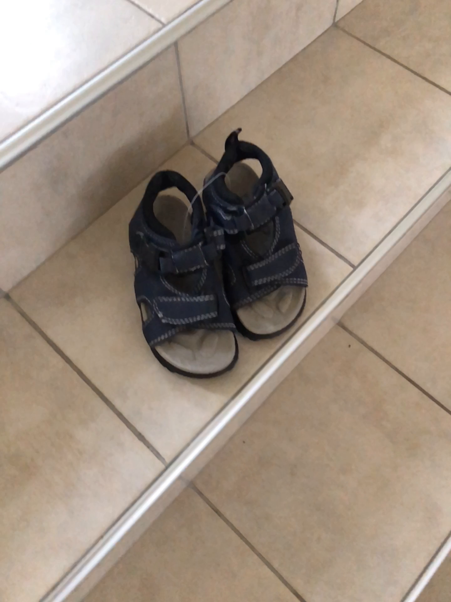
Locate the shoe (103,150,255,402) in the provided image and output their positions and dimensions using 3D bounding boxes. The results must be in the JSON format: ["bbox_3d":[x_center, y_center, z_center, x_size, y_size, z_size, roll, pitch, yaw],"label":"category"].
[{"bbox_3d":[-0.050,-0.028,0.515,0.100,0.090,0.230,-14,67,-5],"label":"shoe"}]

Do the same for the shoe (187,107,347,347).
[{"bbox_3d":[0.036,-0.082,0.537,0.100,0.090,0.230,-14,67,-5],"label":"shoe"}]
